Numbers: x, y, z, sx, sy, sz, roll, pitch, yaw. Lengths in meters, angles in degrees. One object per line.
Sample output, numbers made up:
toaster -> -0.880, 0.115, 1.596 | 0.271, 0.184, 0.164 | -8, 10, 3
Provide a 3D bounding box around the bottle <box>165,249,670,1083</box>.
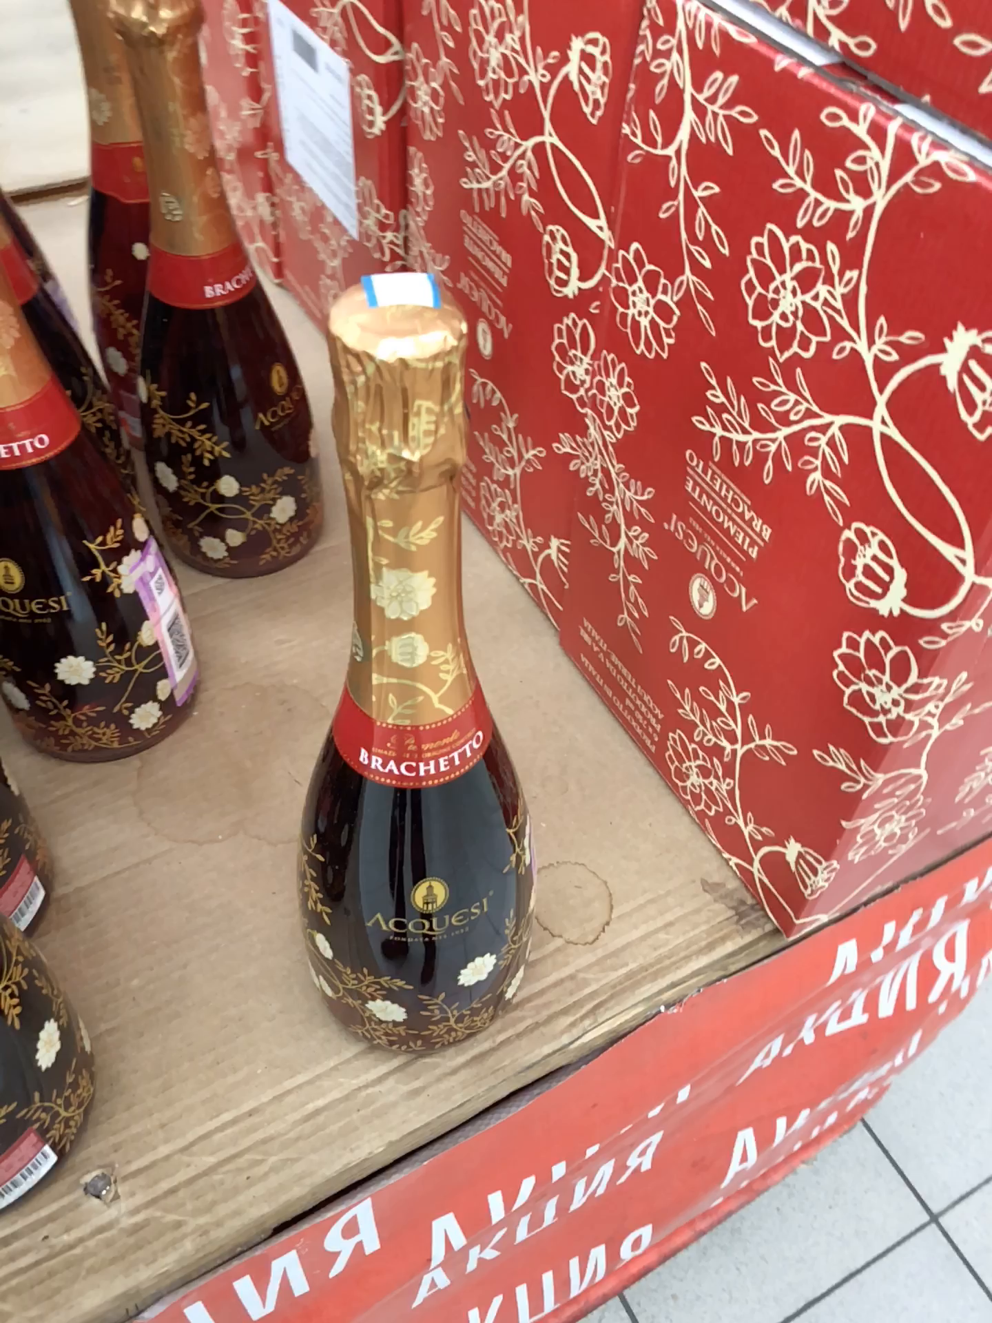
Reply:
bottle -> -0.027, 0.026, 0.352 | 0.100, 0.279, 0.100 | 1, 49, -1
